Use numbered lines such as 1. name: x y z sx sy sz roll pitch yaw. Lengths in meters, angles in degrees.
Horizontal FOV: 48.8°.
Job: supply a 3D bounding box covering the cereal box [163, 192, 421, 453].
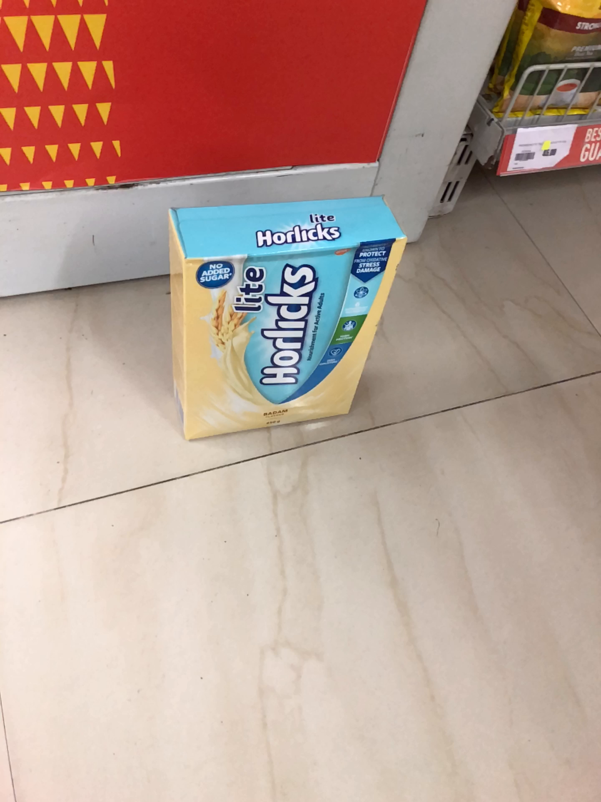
1. cereal box: -0.017 -0.049 0.473 0.150 0.189 0.050 -9 54 -17
